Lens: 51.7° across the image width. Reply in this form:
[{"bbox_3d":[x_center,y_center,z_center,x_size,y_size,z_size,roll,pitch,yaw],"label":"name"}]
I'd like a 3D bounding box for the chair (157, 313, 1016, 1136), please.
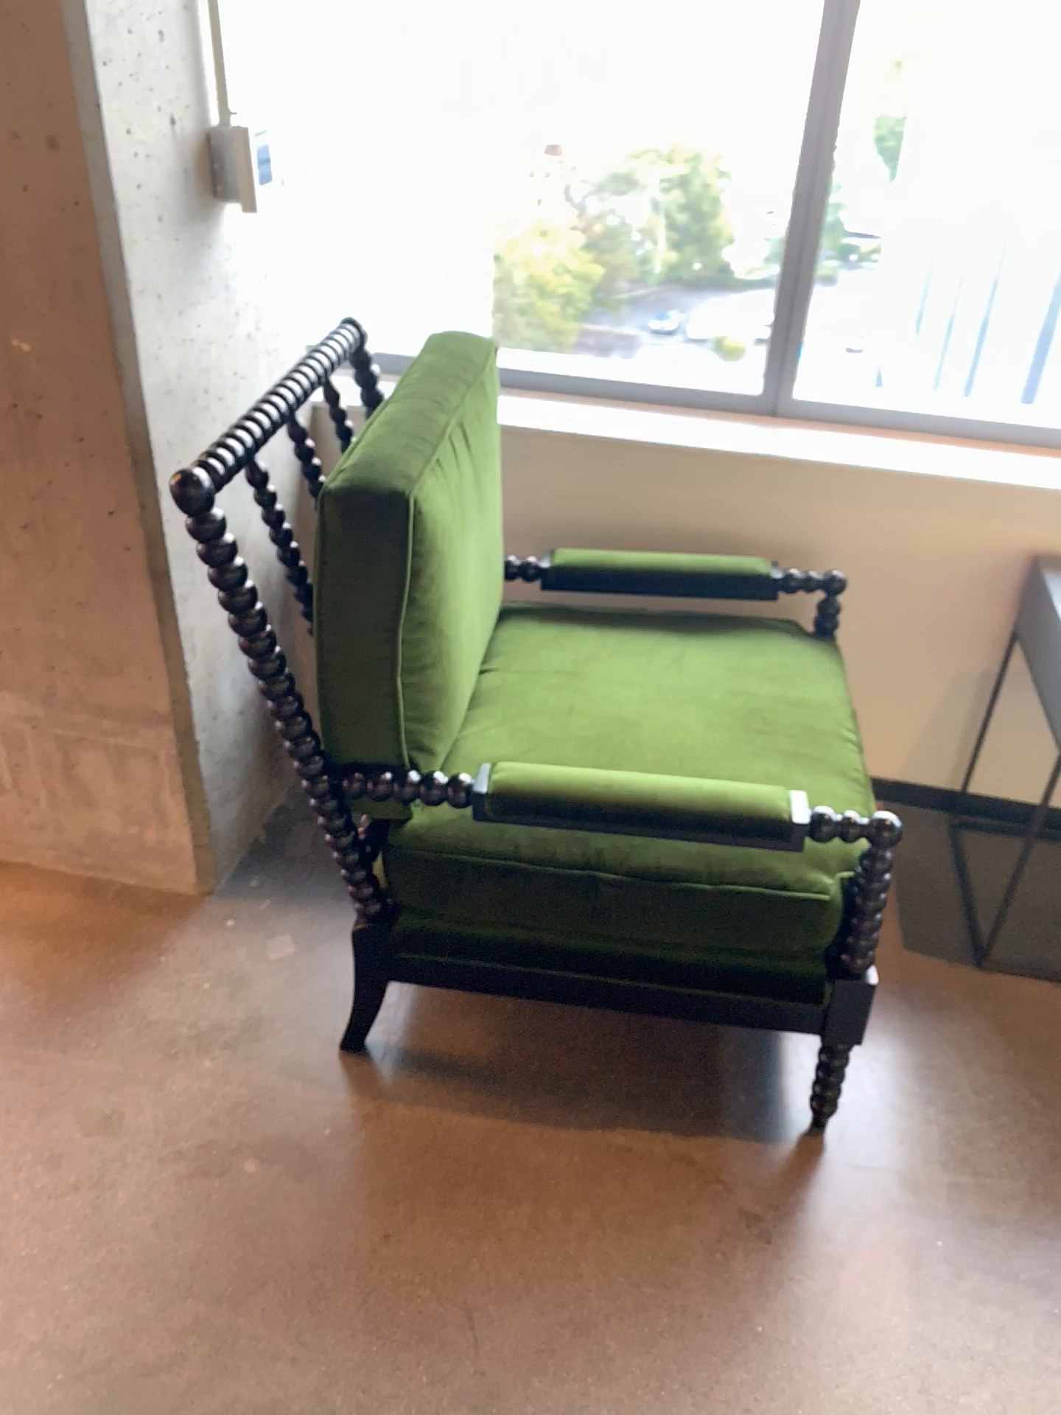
[{"bbox_3d":[0.070,0.000,1.740,0.920,0.974,0.734,6,34,5],"label":"chair"}]
